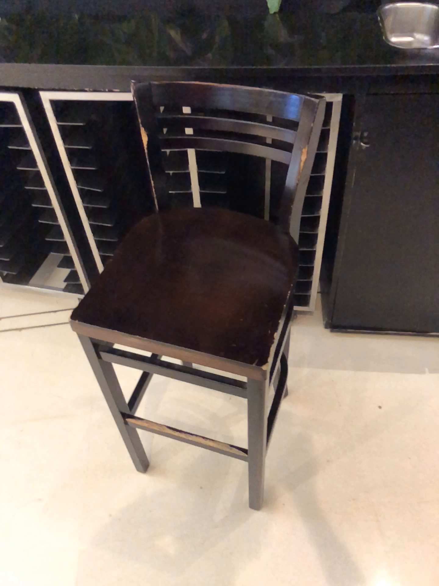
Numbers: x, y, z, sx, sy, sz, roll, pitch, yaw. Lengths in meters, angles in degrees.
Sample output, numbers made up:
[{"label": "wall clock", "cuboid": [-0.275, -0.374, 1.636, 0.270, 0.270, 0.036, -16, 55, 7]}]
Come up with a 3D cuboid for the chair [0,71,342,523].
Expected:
[{"label": "chair", "cuboid": [-0.033, 0.068, 1.099, 0.440, 0.914, 0.453, 12, 48, 16]}]
